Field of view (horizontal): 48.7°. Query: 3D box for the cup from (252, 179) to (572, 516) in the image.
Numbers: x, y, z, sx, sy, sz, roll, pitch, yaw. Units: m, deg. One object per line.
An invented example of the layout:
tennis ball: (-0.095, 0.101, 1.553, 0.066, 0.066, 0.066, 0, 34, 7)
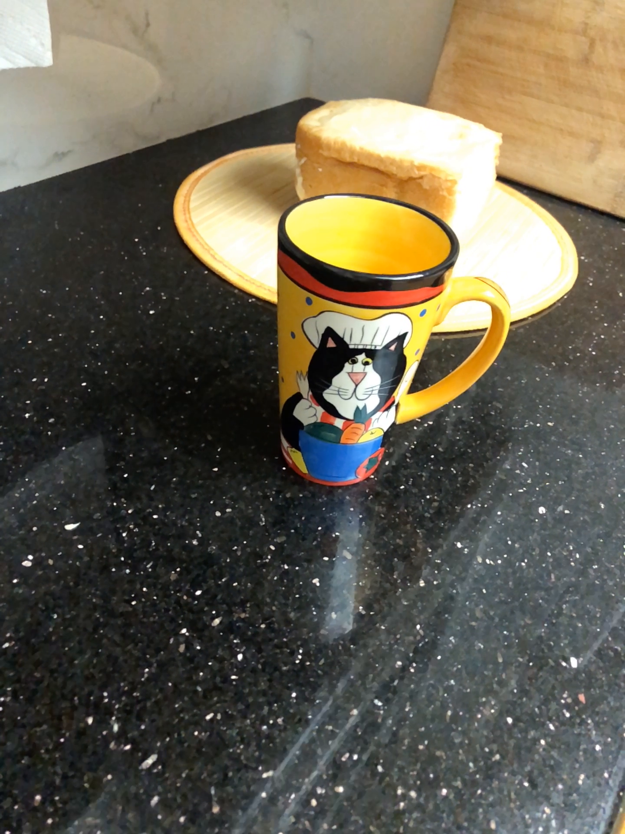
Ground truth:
cup: (0.041, -0.034, 0.371, 0.130, 0.139, 0.091, 7, 41, -1)
